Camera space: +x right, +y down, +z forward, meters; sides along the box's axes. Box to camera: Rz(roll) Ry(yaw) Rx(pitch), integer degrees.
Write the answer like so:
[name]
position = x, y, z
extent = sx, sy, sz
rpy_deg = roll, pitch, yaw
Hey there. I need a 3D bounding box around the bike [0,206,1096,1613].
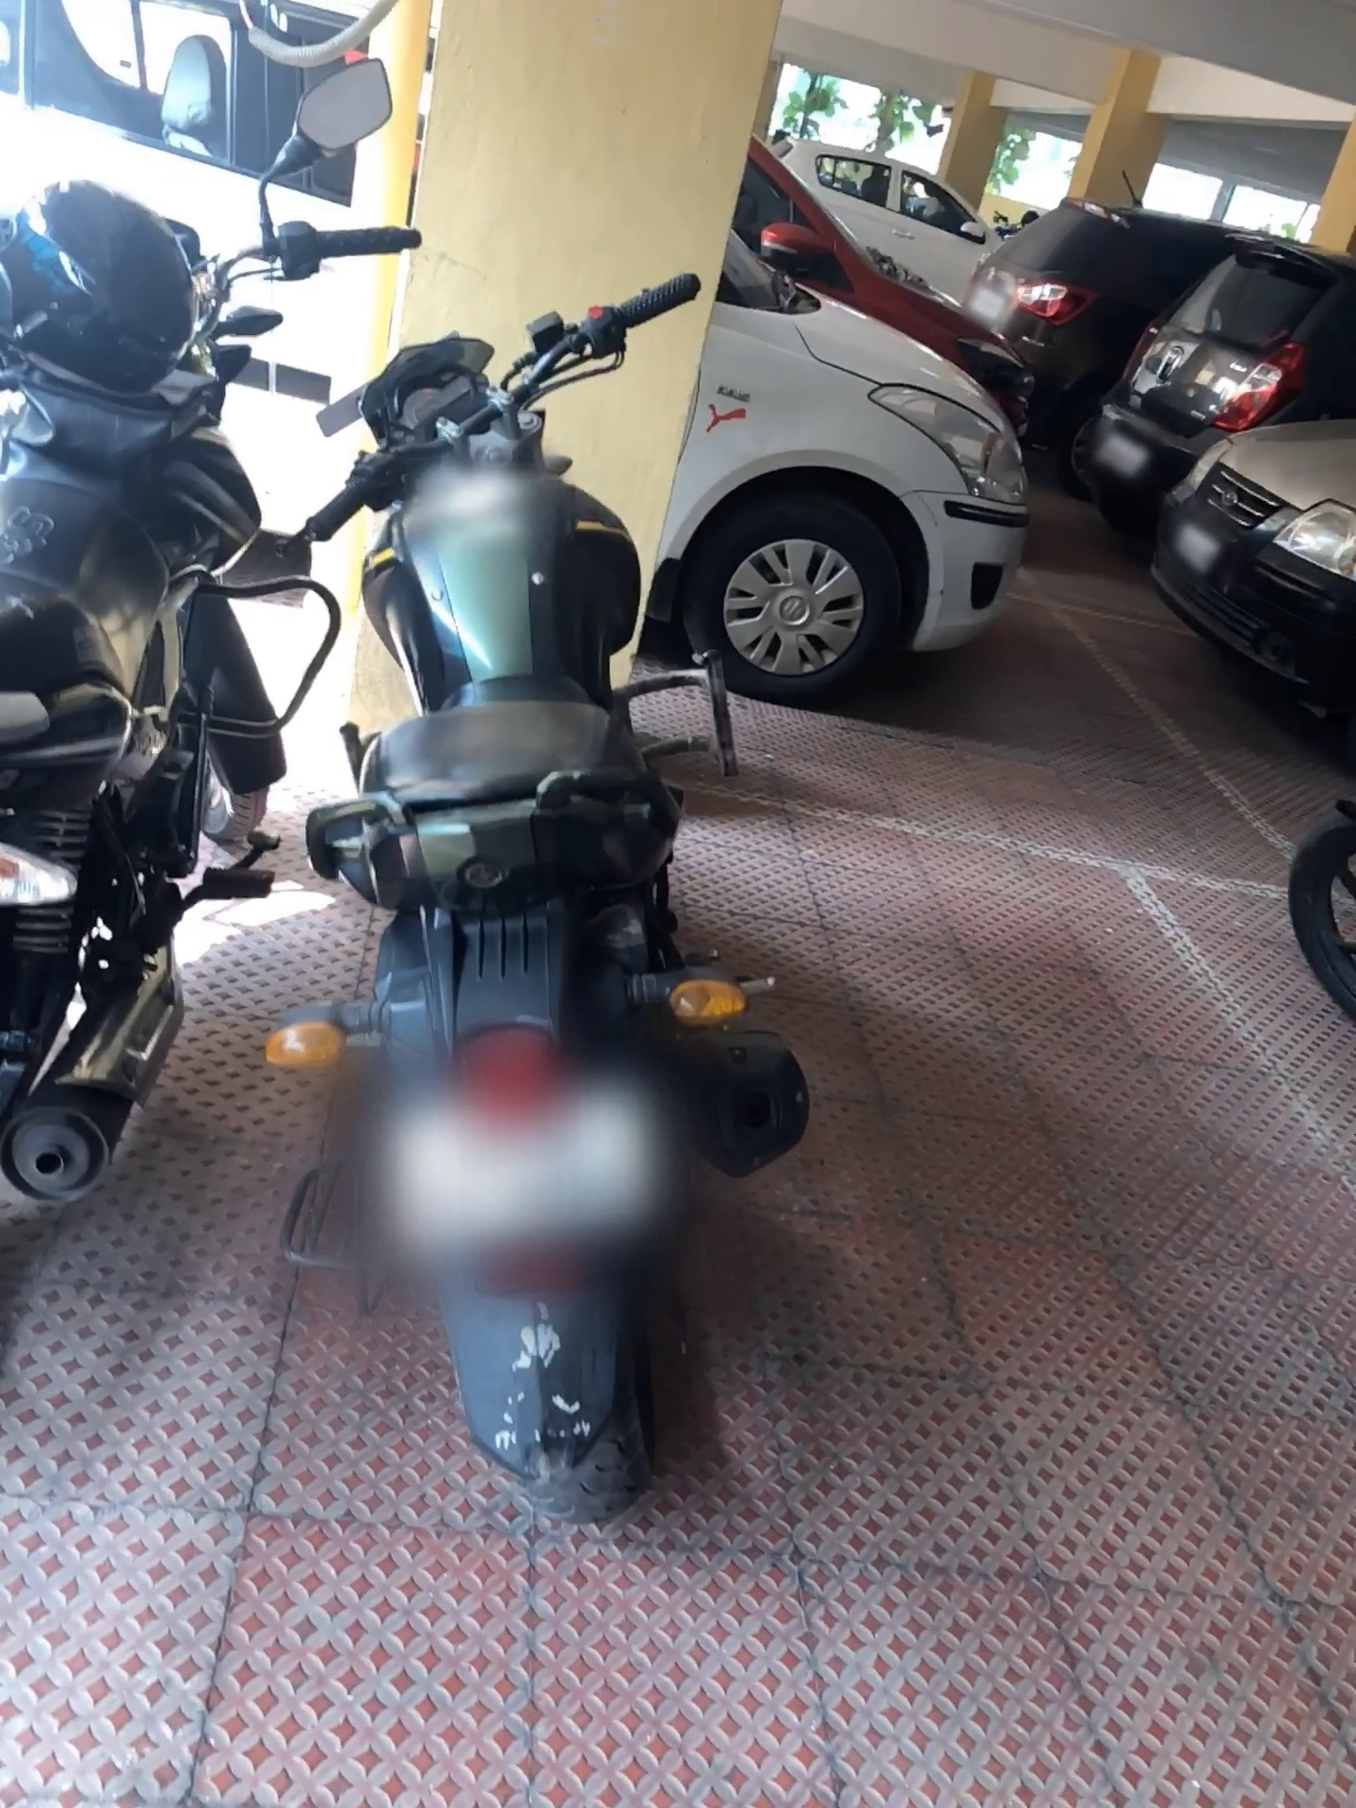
[bike]
position = -0.381, -0.213, 1.960
extent = 0.739, 1.090, 1.816
rpy_deg = 7, 26, -16
